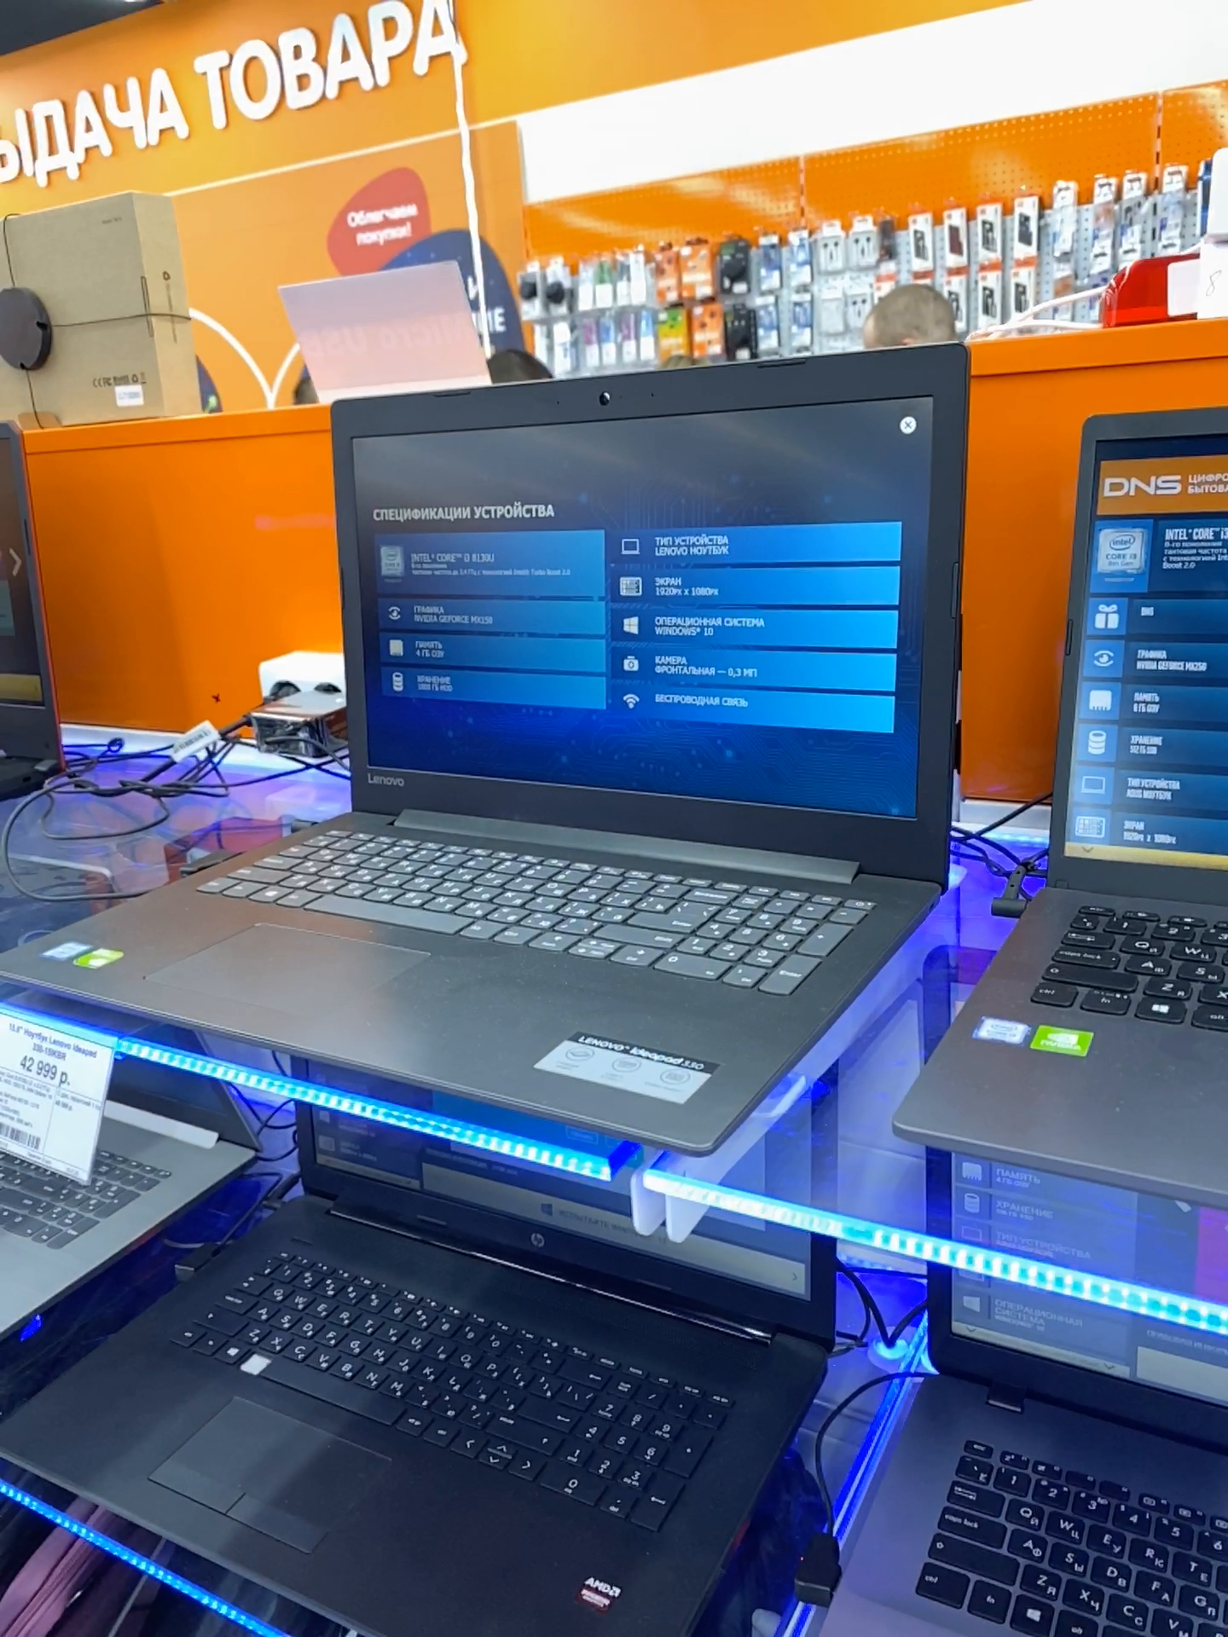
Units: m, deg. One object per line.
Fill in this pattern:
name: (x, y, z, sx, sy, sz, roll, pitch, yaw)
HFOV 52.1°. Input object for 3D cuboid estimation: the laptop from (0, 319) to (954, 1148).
laptop: (-0.072, -0.072, 0.577, 0.378, 0.245, 0.290, 6, 18, 29)

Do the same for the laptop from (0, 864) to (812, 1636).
laptop: (-0.126, 0.207, 0.696, 0.401, 0.263, 0.271, 5, 16, 27)
